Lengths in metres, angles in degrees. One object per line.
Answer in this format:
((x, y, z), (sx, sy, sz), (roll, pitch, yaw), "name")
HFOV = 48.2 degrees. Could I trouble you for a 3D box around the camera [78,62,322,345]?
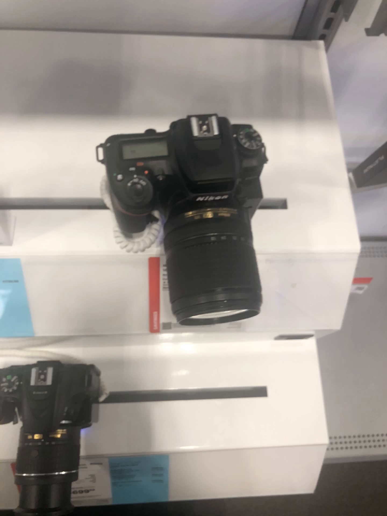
((-0.007, -0.041, 0.361), (0.150, 0.120, 0.190), (-5, 70, -7), "camera")
